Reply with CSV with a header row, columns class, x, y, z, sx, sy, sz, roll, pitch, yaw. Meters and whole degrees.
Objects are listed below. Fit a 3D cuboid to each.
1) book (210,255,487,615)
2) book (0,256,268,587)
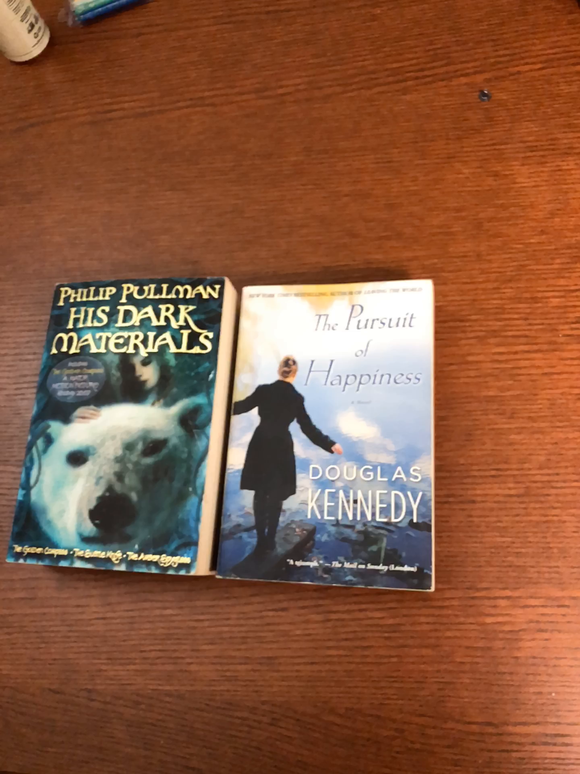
class,x,y,z,sx,sy,sz,roll,pitch,yaw
book,0.045,0.028,0.473,0.180,0.040,0.250,0,73,11
book,-0.119,0.023,0.513,0.180,0.050,0.250,0,73,11
